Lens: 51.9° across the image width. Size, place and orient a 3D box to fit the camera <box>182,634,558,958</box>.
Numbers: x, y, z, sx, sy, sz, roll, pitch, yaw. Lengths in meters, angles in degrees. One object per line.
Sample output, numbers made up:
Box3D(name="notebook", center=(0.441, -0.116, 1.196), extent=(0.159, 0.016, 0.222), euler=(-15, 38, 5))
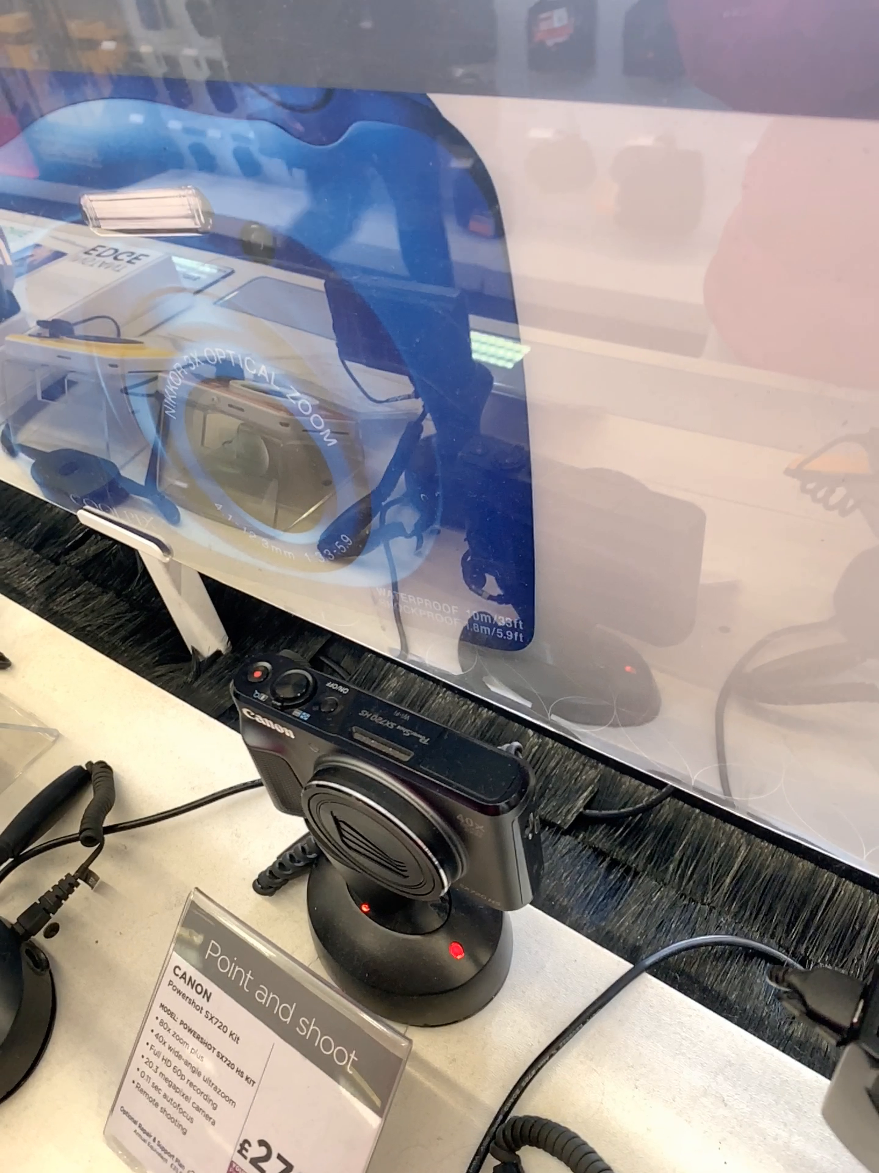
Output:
Box3D(name="camera", center=(-0.022, 0.064, 0.286), extent=(0.113, 0.061, 0.031), euler=(19, 51, 28))
